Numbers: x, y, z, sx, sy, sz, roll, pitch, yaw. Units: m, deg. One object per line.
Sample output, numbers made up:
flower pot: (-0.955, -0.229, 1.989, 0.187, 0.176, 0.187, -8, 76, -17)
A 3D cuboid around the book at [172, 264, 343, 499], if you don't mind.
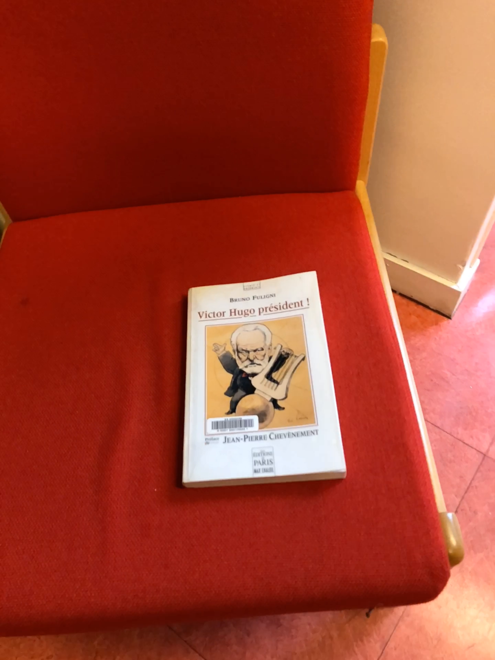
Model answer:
book: (0.003, 0.043, 0.556, 0.151, 0.040, 0.237, -5, 57, 1)
